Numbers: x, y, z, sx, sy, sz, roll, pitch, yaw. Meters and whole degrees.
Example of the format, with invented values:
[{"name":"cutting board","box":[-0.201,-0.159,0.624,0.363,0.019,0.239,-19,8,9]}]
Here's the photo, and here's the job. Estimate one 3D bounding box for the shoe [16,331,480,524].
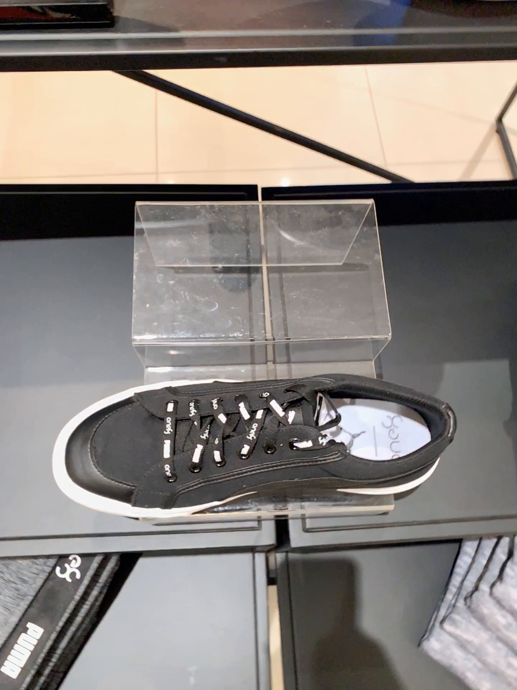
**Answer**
[{"name":"shoe","box":[-0.007,0.063,0.389,0.280,0.100,0.110,-1,68,-3]}]
